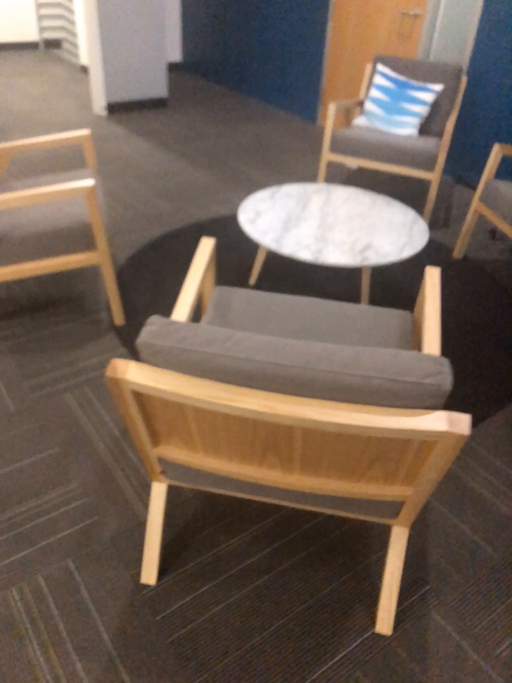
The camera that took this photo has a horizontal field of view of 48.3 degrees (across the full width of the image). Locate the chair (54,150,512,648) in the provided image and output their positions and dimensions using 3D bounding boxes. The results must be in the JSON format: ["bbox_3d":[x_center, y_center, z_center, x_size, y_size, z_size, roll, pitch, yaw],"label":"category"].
[{"bbox_3d":[0.096,0.091,1.446,0.720,0.753,0.879,8,41,6],"label":"chair"}]

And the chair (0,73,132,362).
[{"bbox_3d":[-0.967,-0.512,2.193,0.801,0.773,0.725,-9,37,-12],"label":"chair"}]
